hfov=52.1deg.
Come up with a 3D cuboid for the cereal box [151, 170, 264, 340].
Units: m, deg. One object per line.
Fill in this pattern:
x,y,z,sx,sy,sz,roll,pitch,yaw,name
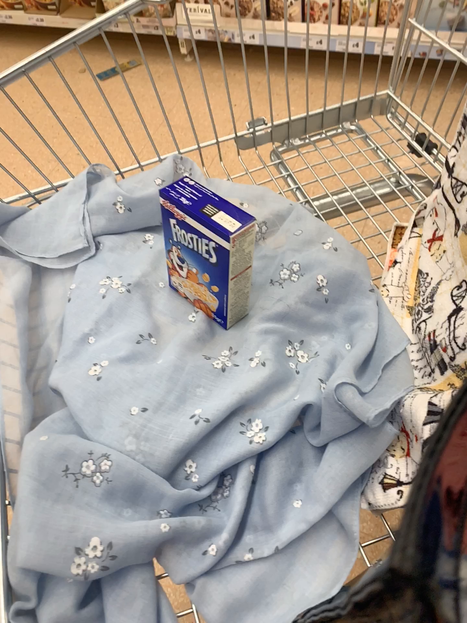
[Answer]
-0.024,-0.052,0.461,0.040,0.129,0.100,-37,58,-28,cereal box
